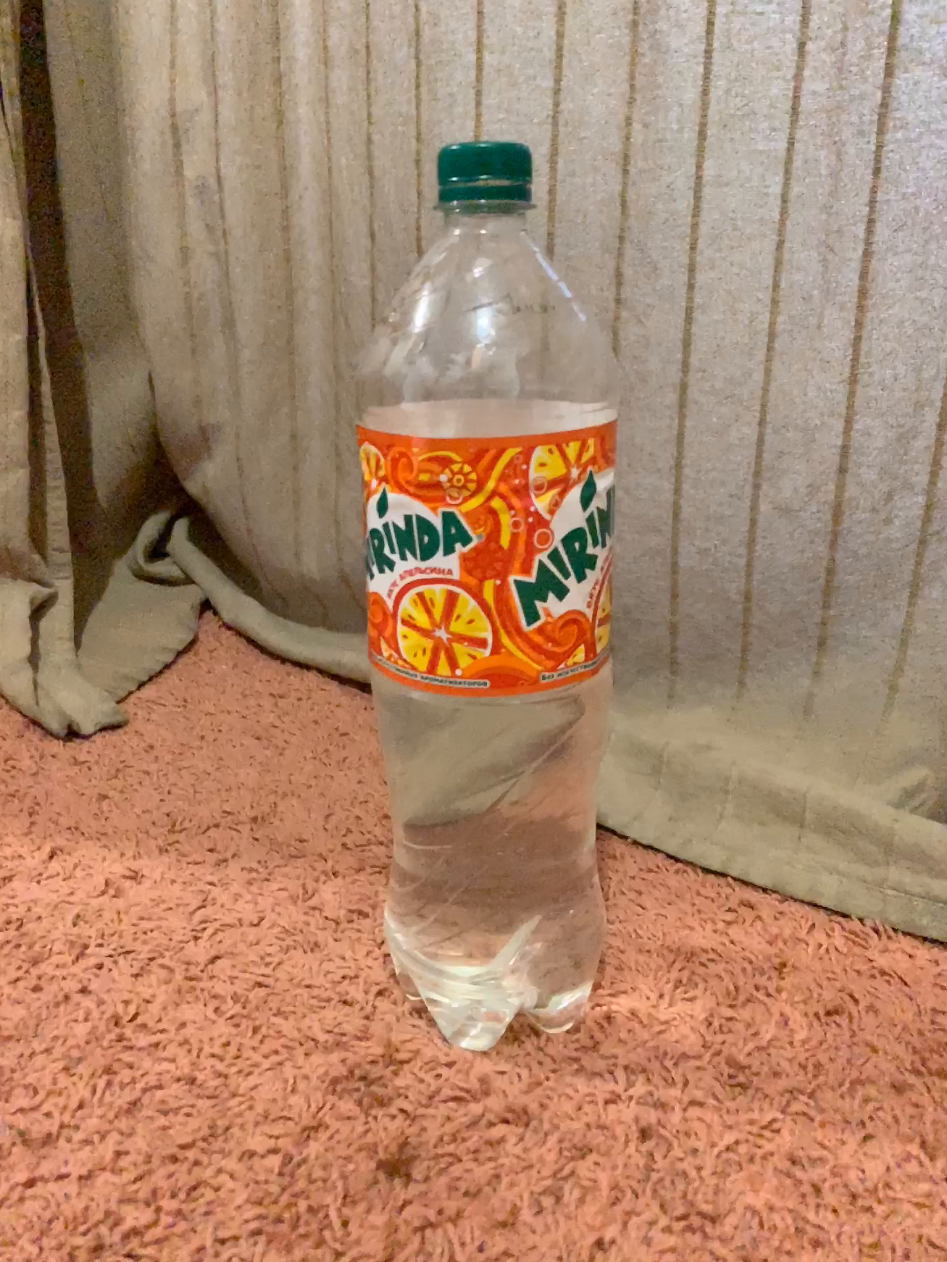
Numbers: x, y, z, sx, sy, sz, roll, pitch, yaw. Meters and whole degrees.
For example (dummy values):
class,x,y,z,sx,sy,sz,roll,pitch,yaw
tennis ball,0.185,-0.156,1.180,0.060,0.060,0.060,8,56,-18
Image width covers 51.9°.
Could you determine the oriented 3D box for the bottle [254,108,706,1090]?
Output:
class,x,y,z,sx,sy,sz,roll,pitch,yaw
bottle,0.002,-0.009,0.351,0.100,0.298,0.100,0,18,0
